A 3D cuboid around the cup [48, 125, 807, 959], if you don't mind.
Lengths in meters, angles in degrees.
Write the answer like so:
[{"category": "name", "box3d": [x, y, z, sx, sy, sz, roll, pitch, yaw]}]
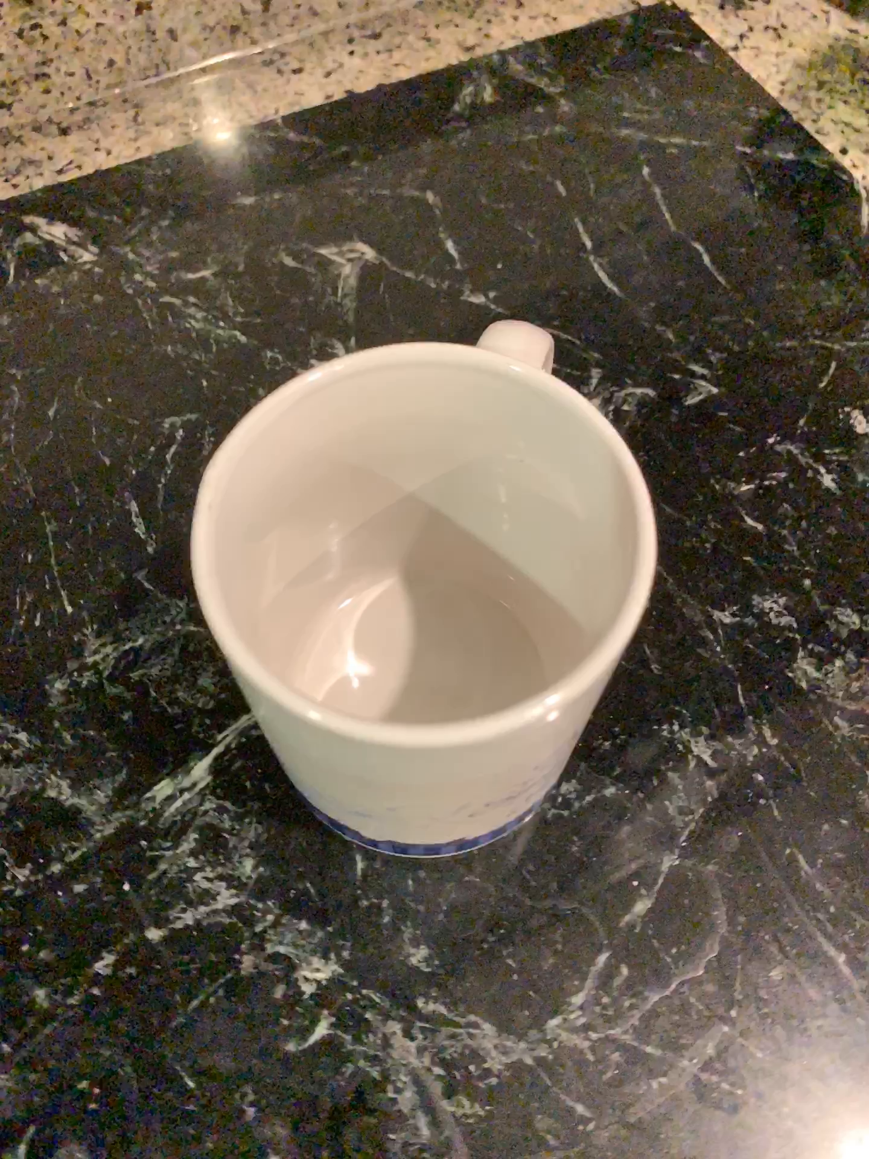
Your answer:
[{"category": "cup", "box3d": [0.008, -0.004, 0.197, 0.090, 0.099, 0.131, 18, 64, 9]}]
